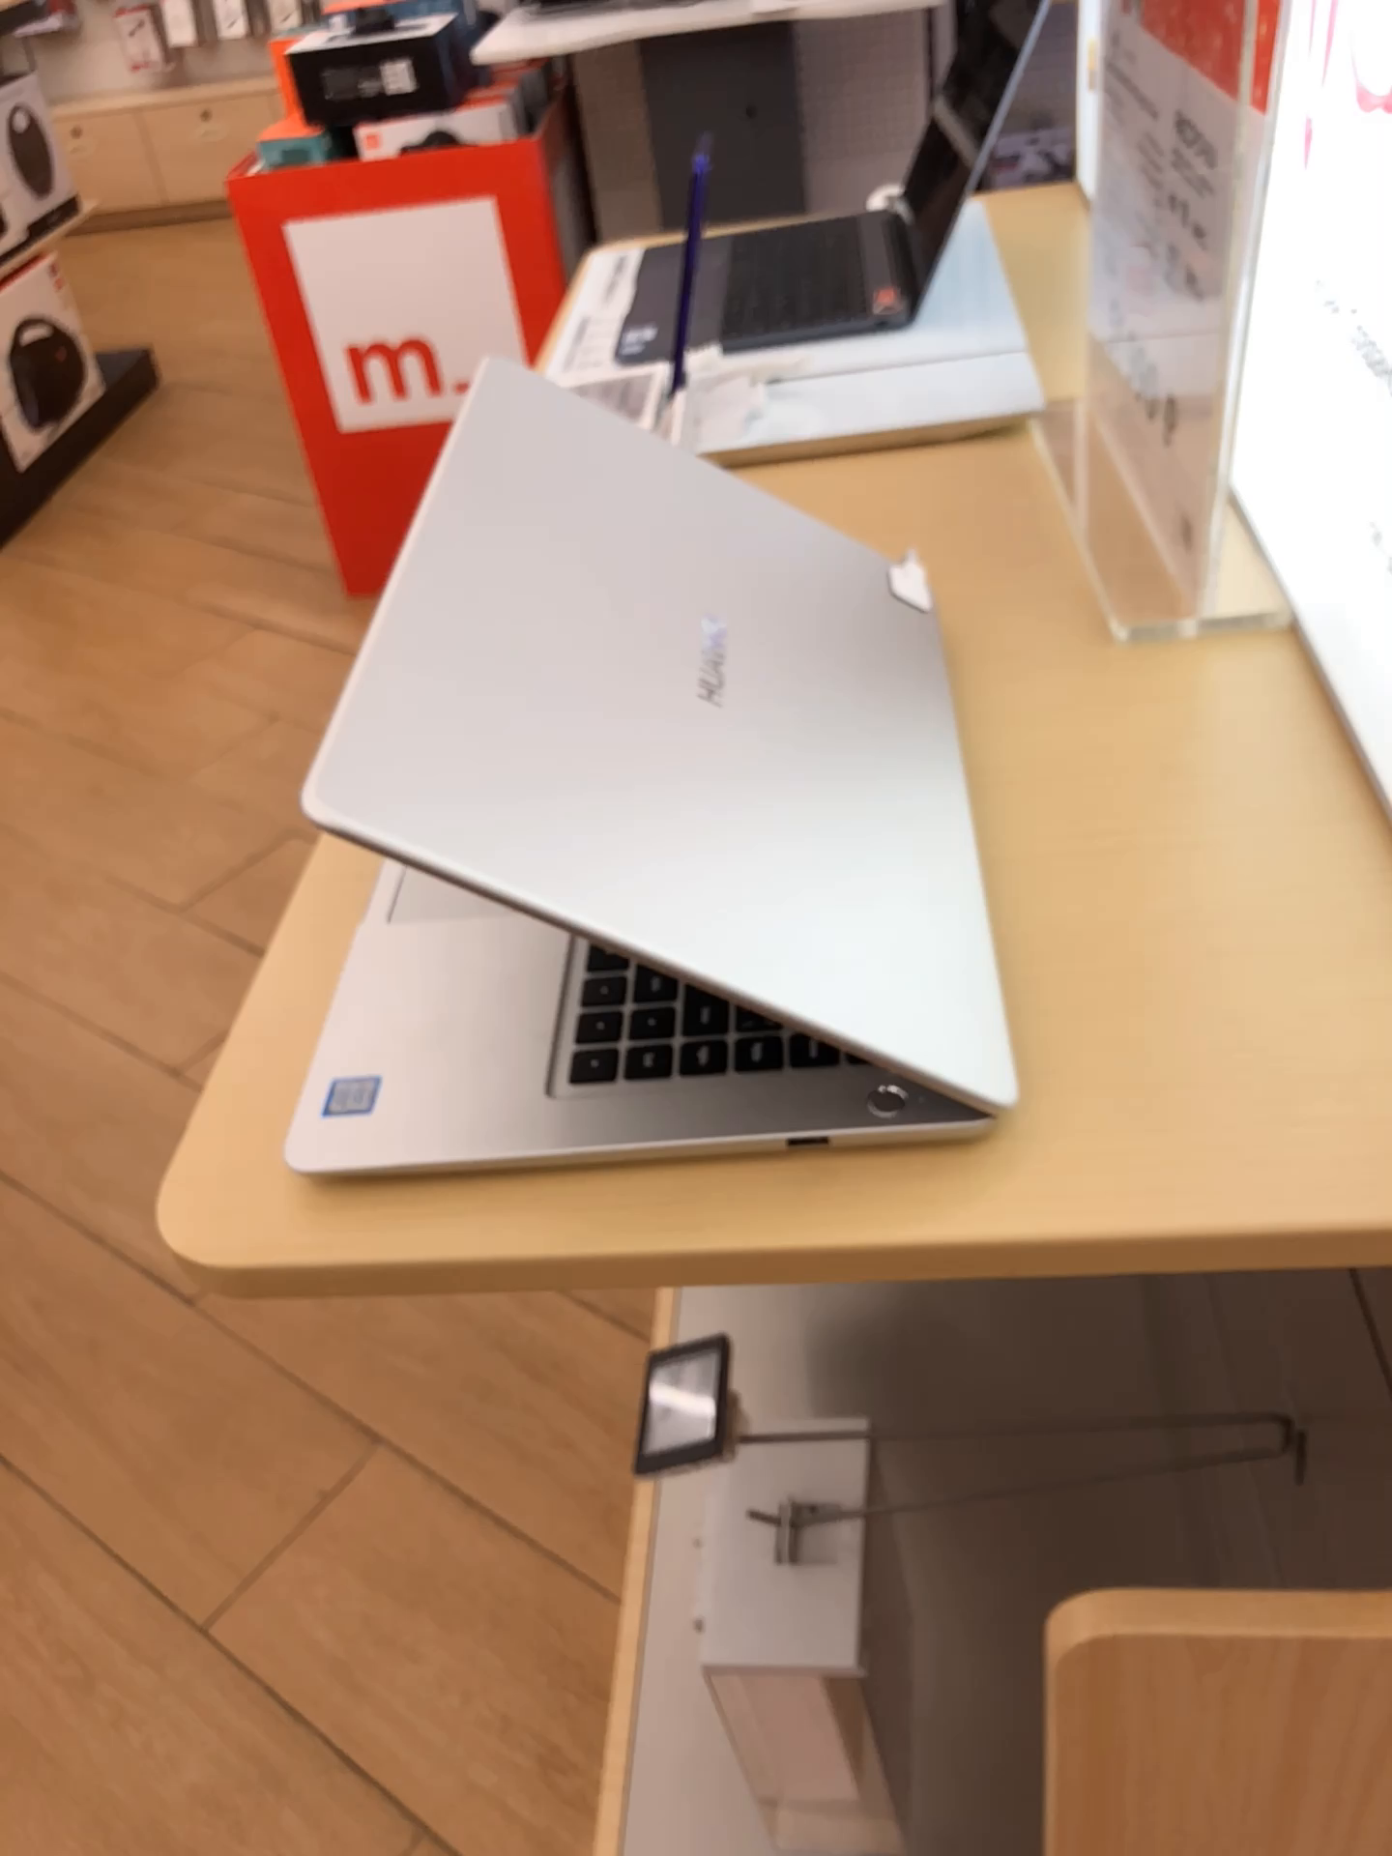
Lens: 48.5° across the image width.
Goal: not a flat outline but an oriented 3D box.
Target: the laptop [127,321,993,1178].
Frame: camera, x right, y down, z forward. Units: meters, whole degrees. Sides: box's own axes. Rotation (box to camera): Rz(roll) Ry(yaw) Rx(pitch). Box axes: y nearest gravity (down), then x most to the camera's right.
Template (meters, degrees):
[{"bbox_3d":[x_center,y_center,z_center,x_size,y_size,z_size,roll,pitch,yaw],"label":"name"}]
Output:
[{"bbox_3d":[-0.020,-0.089,0.578,0.230,0.135,0.344,-4,38,8],"label":"laptop"}]
